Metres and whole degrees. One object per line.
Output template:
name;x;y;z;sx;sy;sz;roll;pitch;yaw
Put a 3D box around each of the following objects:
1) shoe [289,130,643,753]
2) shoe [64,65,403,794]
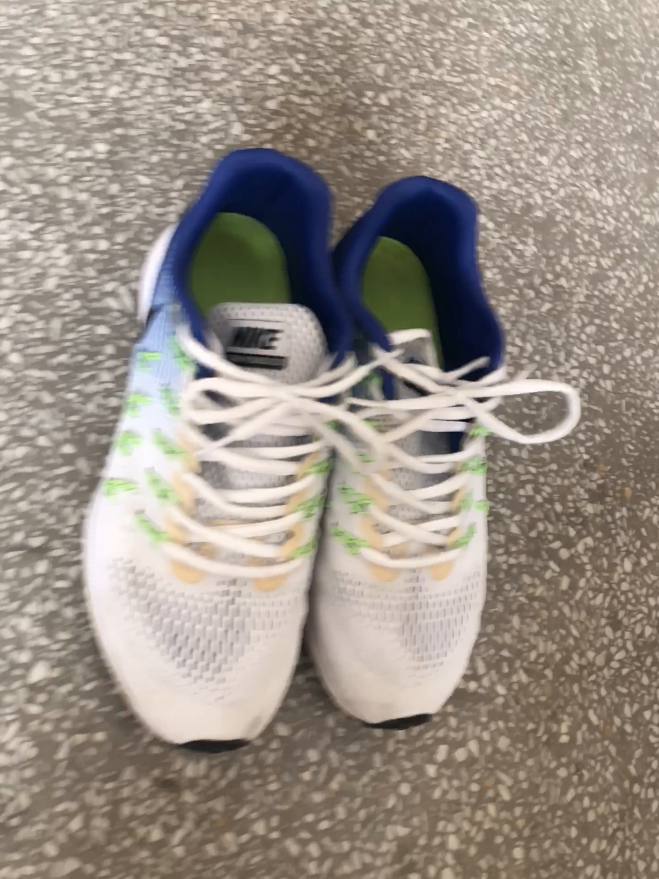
shoe;0.054;0.004;0.379;0.111;0.114;0.275;4;72;-21
shoe;-0.050;-0.004;0.339;0.113;0.114;0.282;5;71;-21
